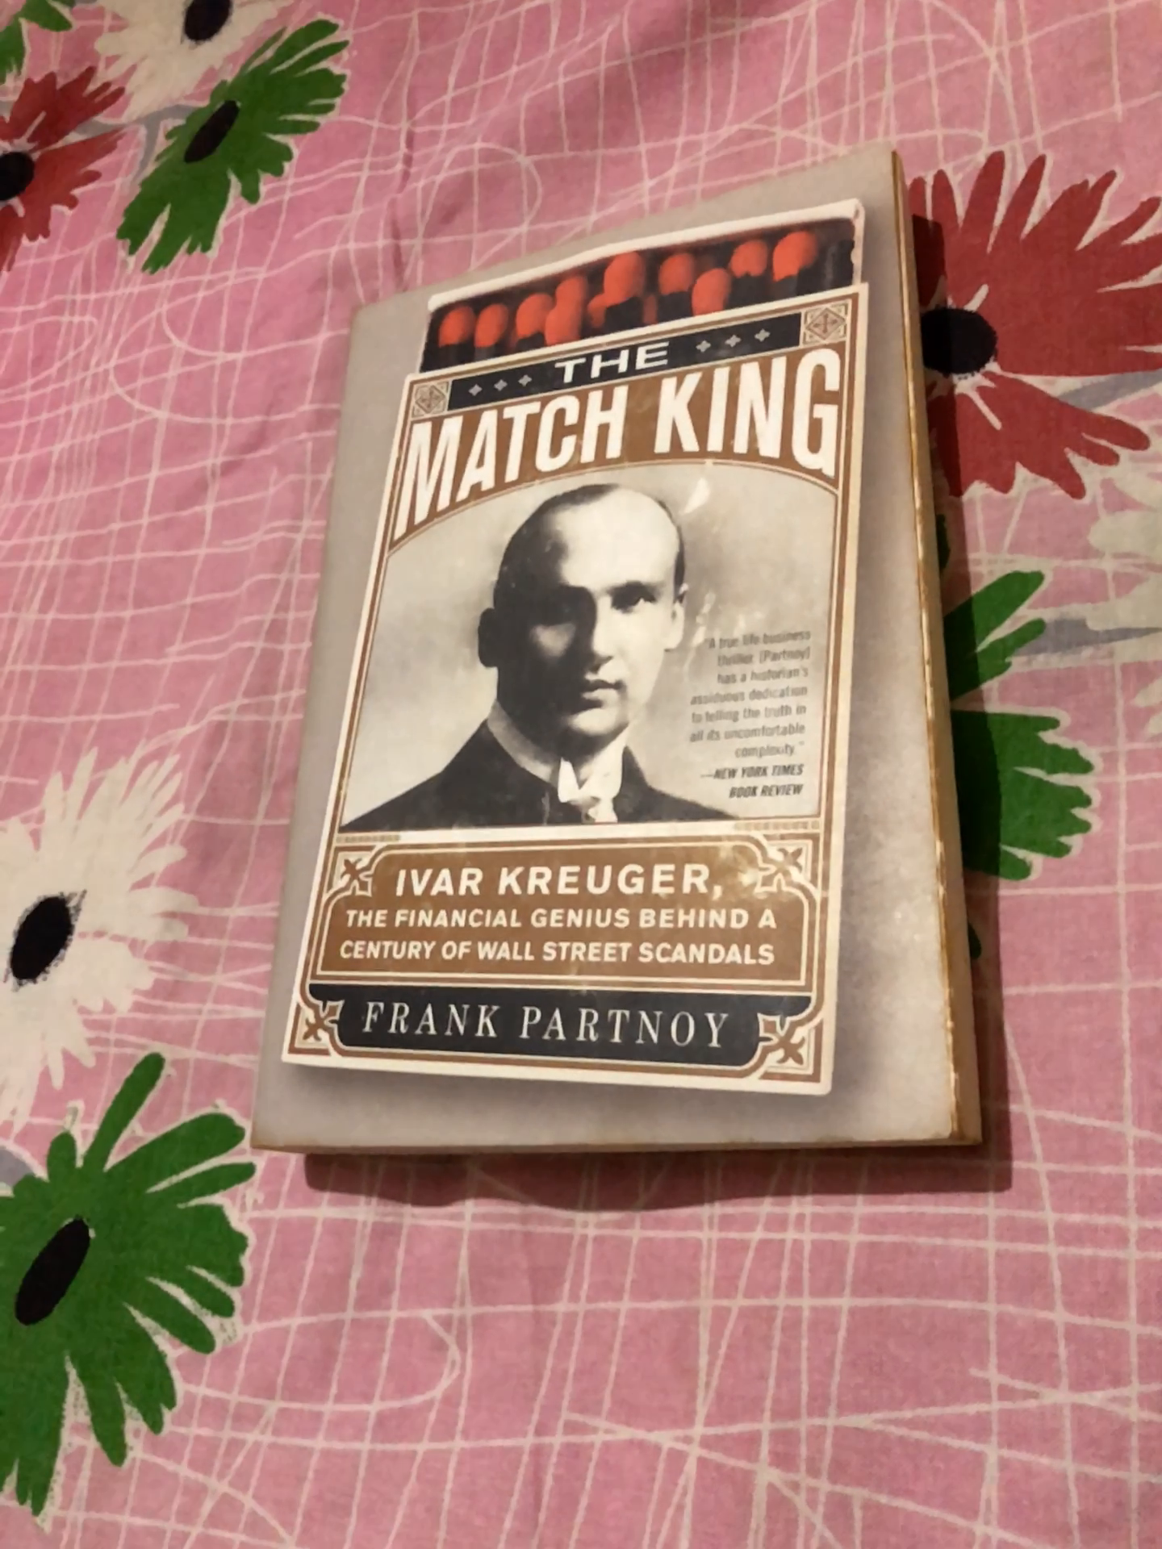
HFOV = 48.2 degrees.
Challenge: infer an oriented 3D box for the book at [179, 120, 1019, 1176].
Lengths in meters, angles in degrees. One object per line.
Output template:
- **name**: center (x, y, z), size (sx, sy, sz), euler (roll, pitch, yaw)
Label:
- **book**: center (0.003, -0.035, 0.303), size (0.160, 0.030, 0.240), euler (-9, 59, 22)
